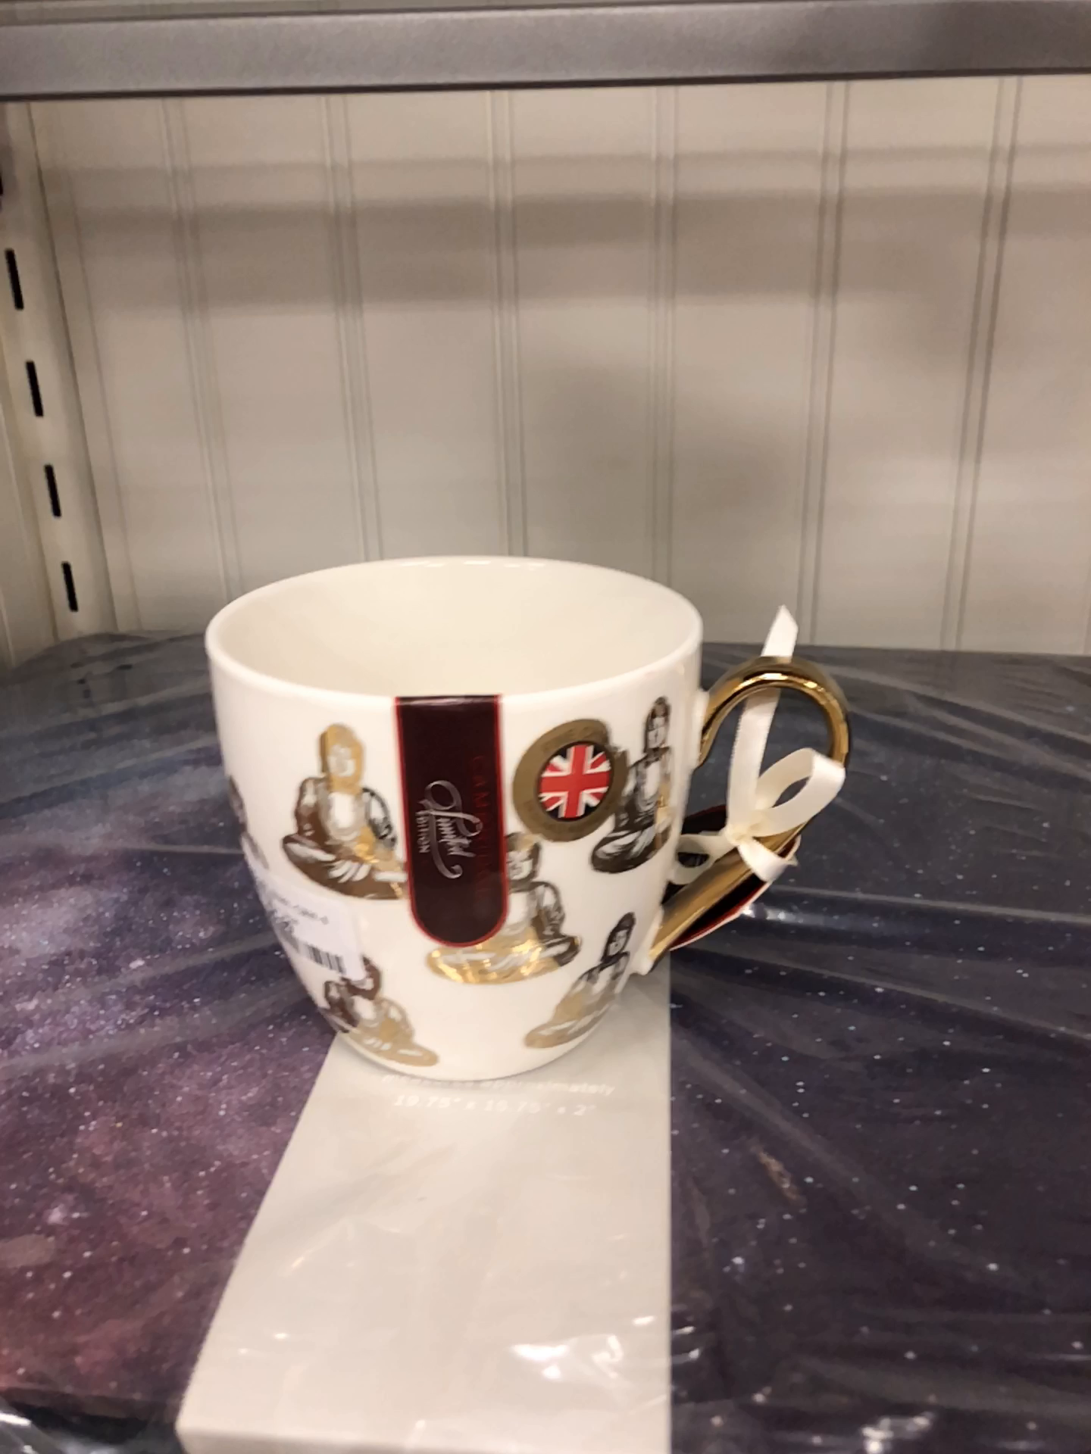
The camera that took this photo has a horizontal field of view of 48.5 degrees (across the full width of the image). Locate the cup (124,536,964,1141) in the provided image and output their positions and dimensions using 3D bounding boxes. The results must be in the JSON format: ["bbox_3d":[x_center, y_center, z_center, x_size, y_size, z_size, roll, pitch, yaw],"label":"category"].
[{"bbox_3d":[0.001,0.017,0.261,0.137,0.089,0.101,-1,23,1],"label":"cup"}]
